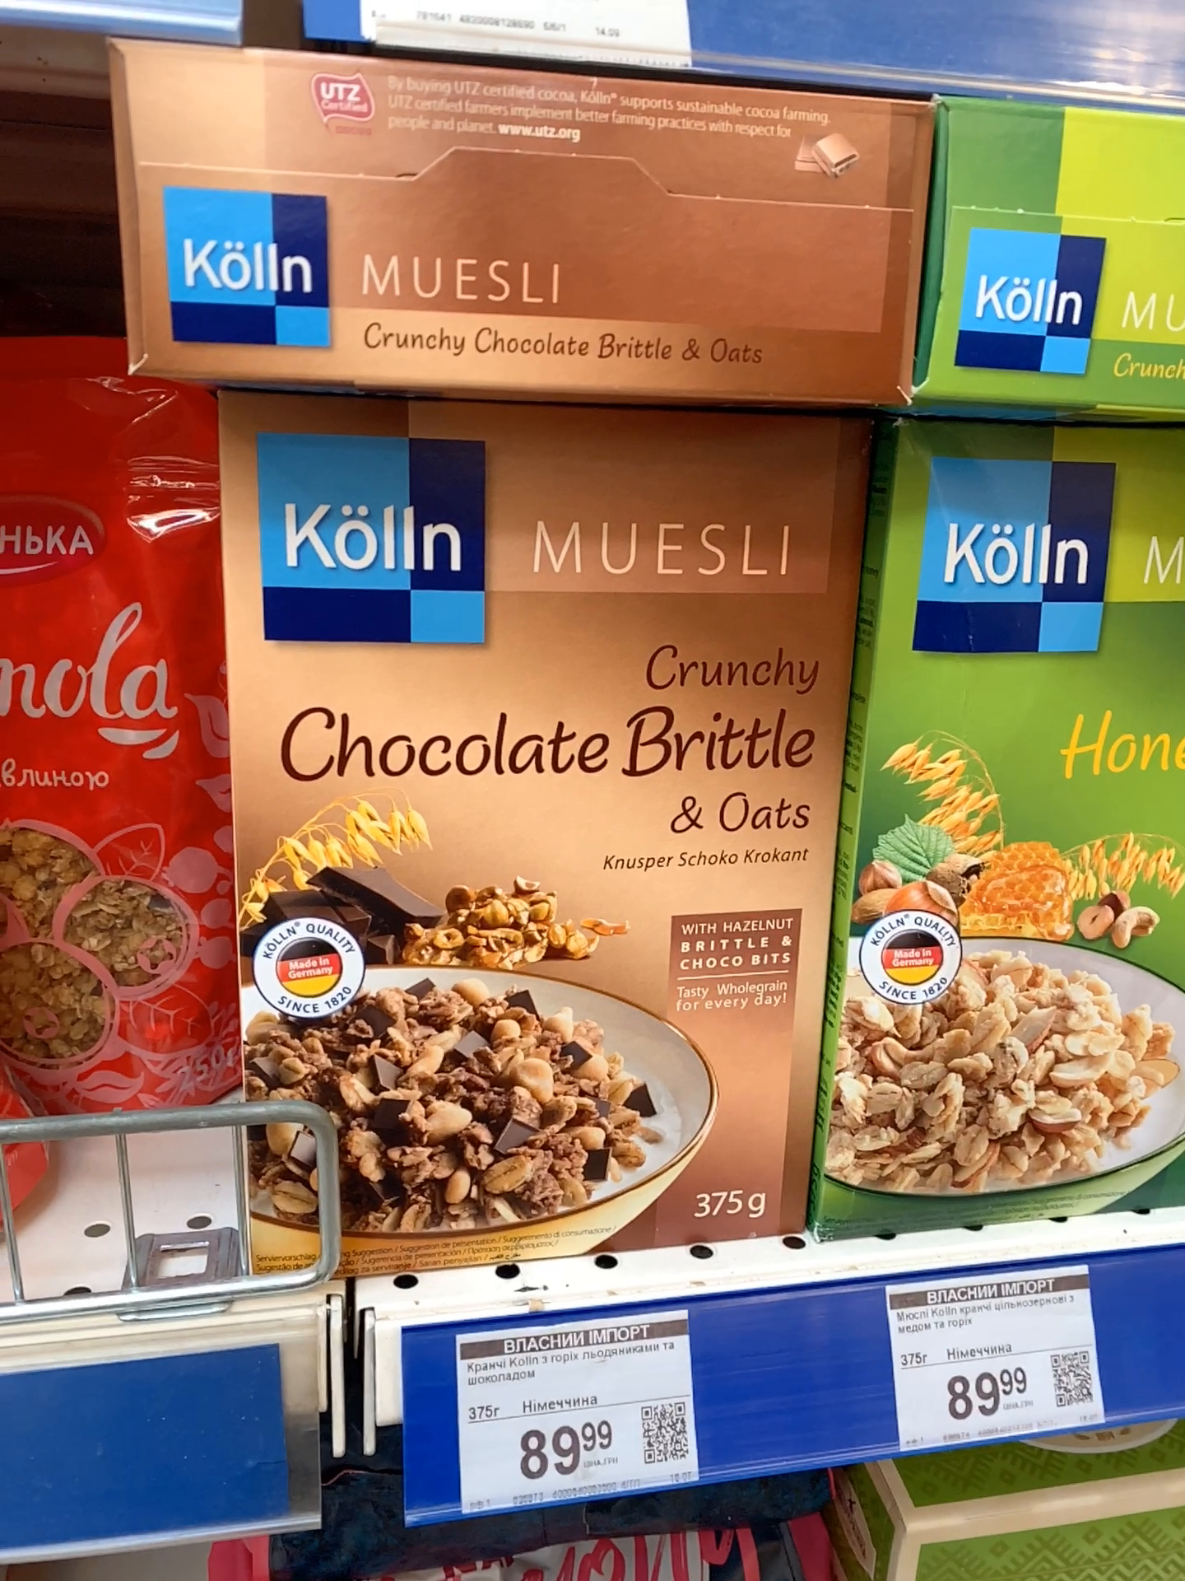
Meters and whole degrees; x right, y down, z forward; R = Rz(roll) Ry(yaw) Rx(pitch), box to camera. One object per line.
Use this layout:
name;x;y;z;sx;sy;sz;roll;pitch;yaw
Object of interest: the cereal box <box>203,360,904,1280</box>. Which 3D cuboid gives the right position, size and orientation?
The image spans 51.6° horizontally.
cereal box;-0.014;0.007;0.312;0.150;0.209;0.060;0;14;-11
